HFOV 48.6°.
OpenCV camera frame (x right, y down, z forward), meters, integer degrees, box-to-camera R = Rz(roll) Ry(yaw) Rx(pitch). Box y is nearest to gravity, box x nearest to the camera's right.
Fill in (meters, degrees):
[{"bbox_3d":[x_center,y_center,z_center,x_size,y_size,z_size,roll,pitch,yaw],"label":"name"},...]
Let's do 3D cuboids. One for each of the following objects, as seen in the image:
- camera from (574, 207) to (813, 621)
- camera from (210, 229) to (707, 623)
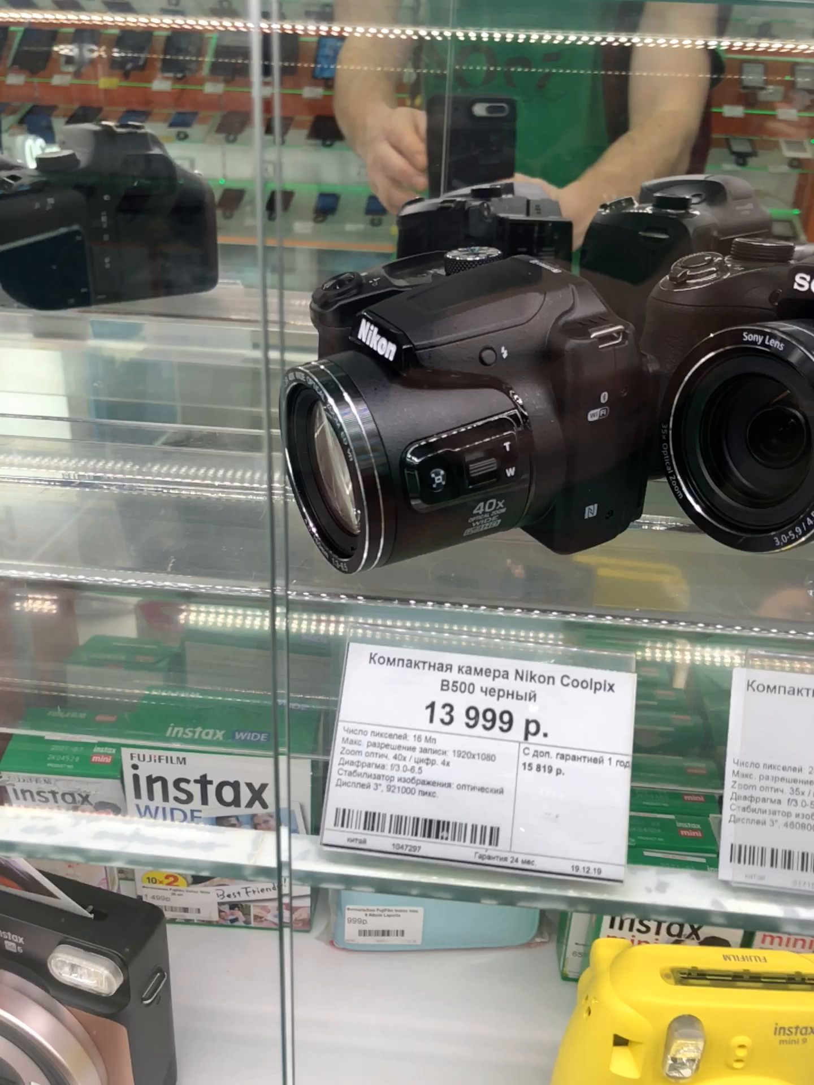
[{"bbox_3d":[0.129,-0.051,0.275,0.098,0.084,0.115,-15,28,-28],"label":"camera"},{"bbox_3d":[0.008,-0.047,0.277,0.098,0.080,0.110,-13,29,-30],"label":"camera"}]
